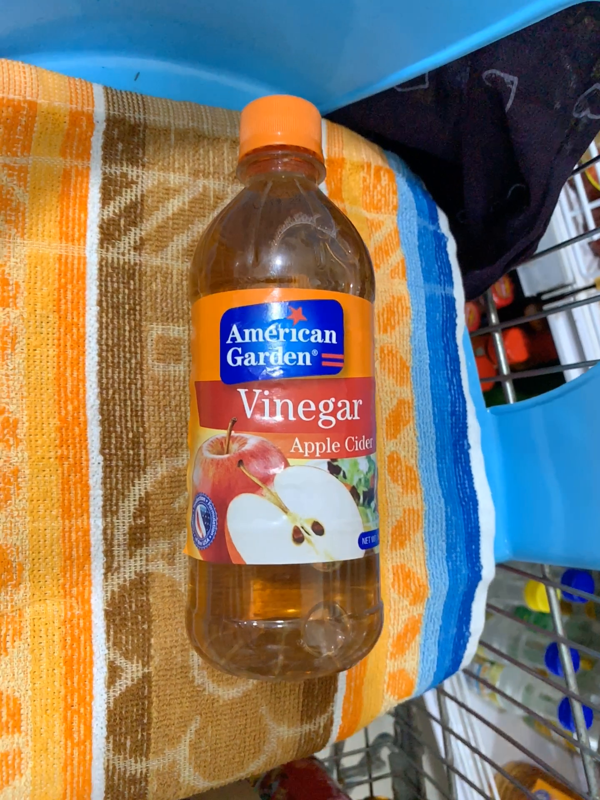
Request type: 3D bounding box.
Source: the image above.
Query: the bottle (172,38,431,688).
[{"bbox_3d":[-0.004,-0.012,0.204,0.070,0.050,0.180,-1,88,-11],"label":"bottle"}]
